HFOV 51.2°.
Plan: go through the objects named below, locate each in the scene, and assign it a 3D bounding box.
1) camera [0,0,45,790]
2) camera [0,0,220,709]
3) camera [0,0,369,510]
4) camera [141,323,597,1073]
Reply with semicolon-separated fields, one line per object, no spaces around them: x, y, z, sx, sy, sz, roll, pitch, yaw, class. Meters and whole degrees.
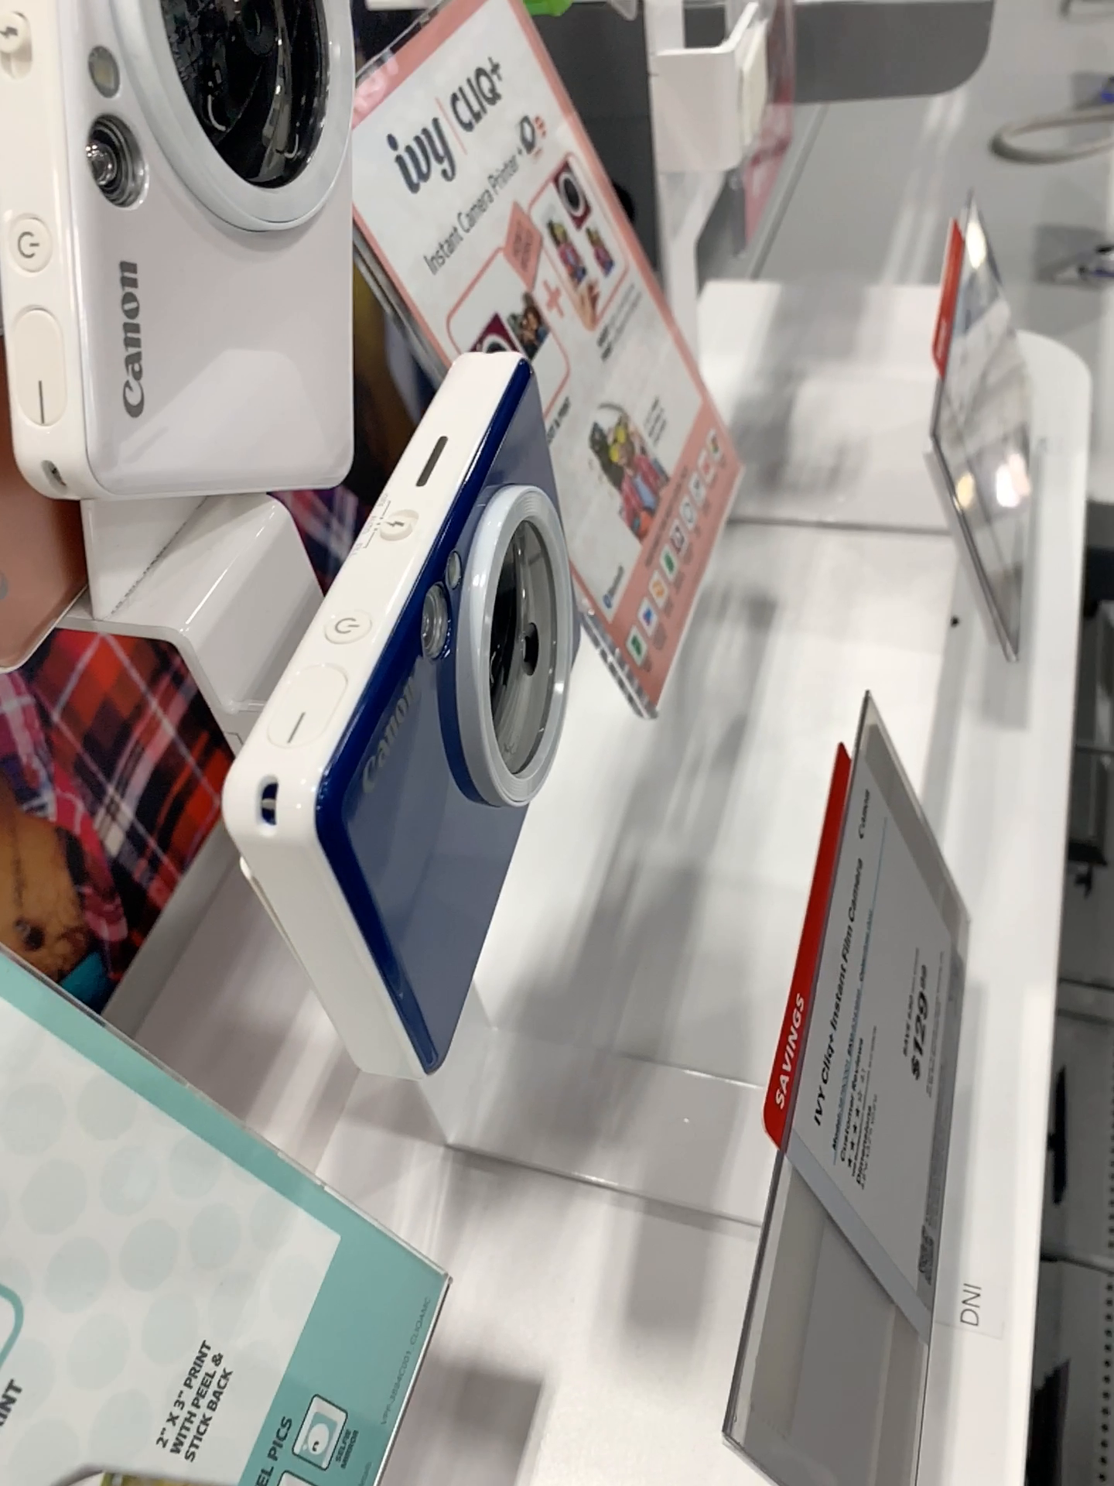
-0.121;-0.044;0.149;0.028;0.110;0.078;5;77;13;camera
-0.099;-0.075;0.169;0.028;0.119;0.078;5;49;15;camera
-0.063;-0.101;0.189;0.028;0.120;0.078;6;15;19;camera
-0.023;-0.013;0.213;0.028;0.070;0.120;5;49;14;camera
